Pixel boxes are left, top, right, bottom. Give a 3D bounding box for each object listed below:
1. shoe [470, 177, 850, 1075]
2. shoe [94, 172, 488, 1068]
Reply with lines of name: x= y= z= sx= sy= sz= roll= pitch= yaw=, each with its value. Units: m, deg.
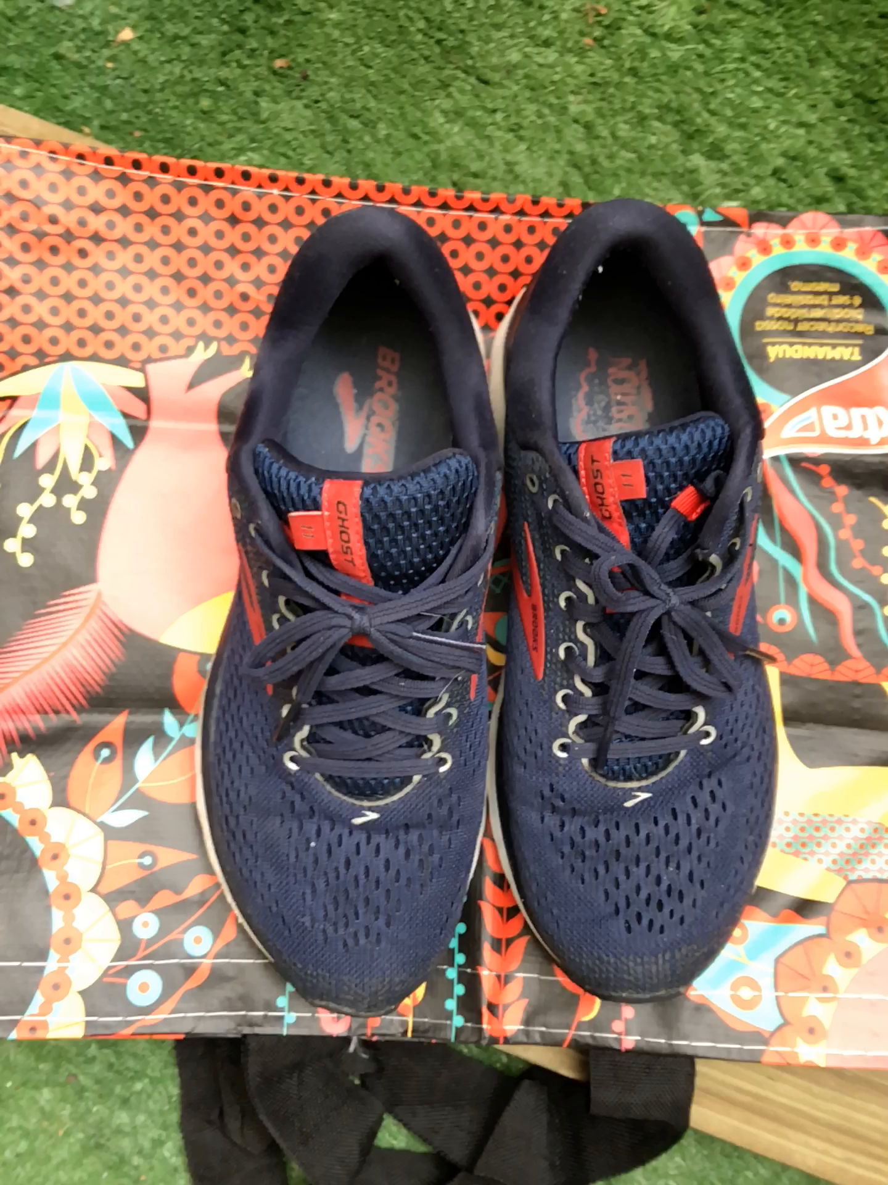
shoe: x=0.062 y=0.009 z=0.342 sx=0.100 sy=0.100 sz=0.265 roll=-1 pitch=83 yaw=0
shoe: x=-0.042 y=0.007 z=0.343 sx=0.107 sy=0.100 sz=0.265 roll=1 pitch=83 yaw=0
